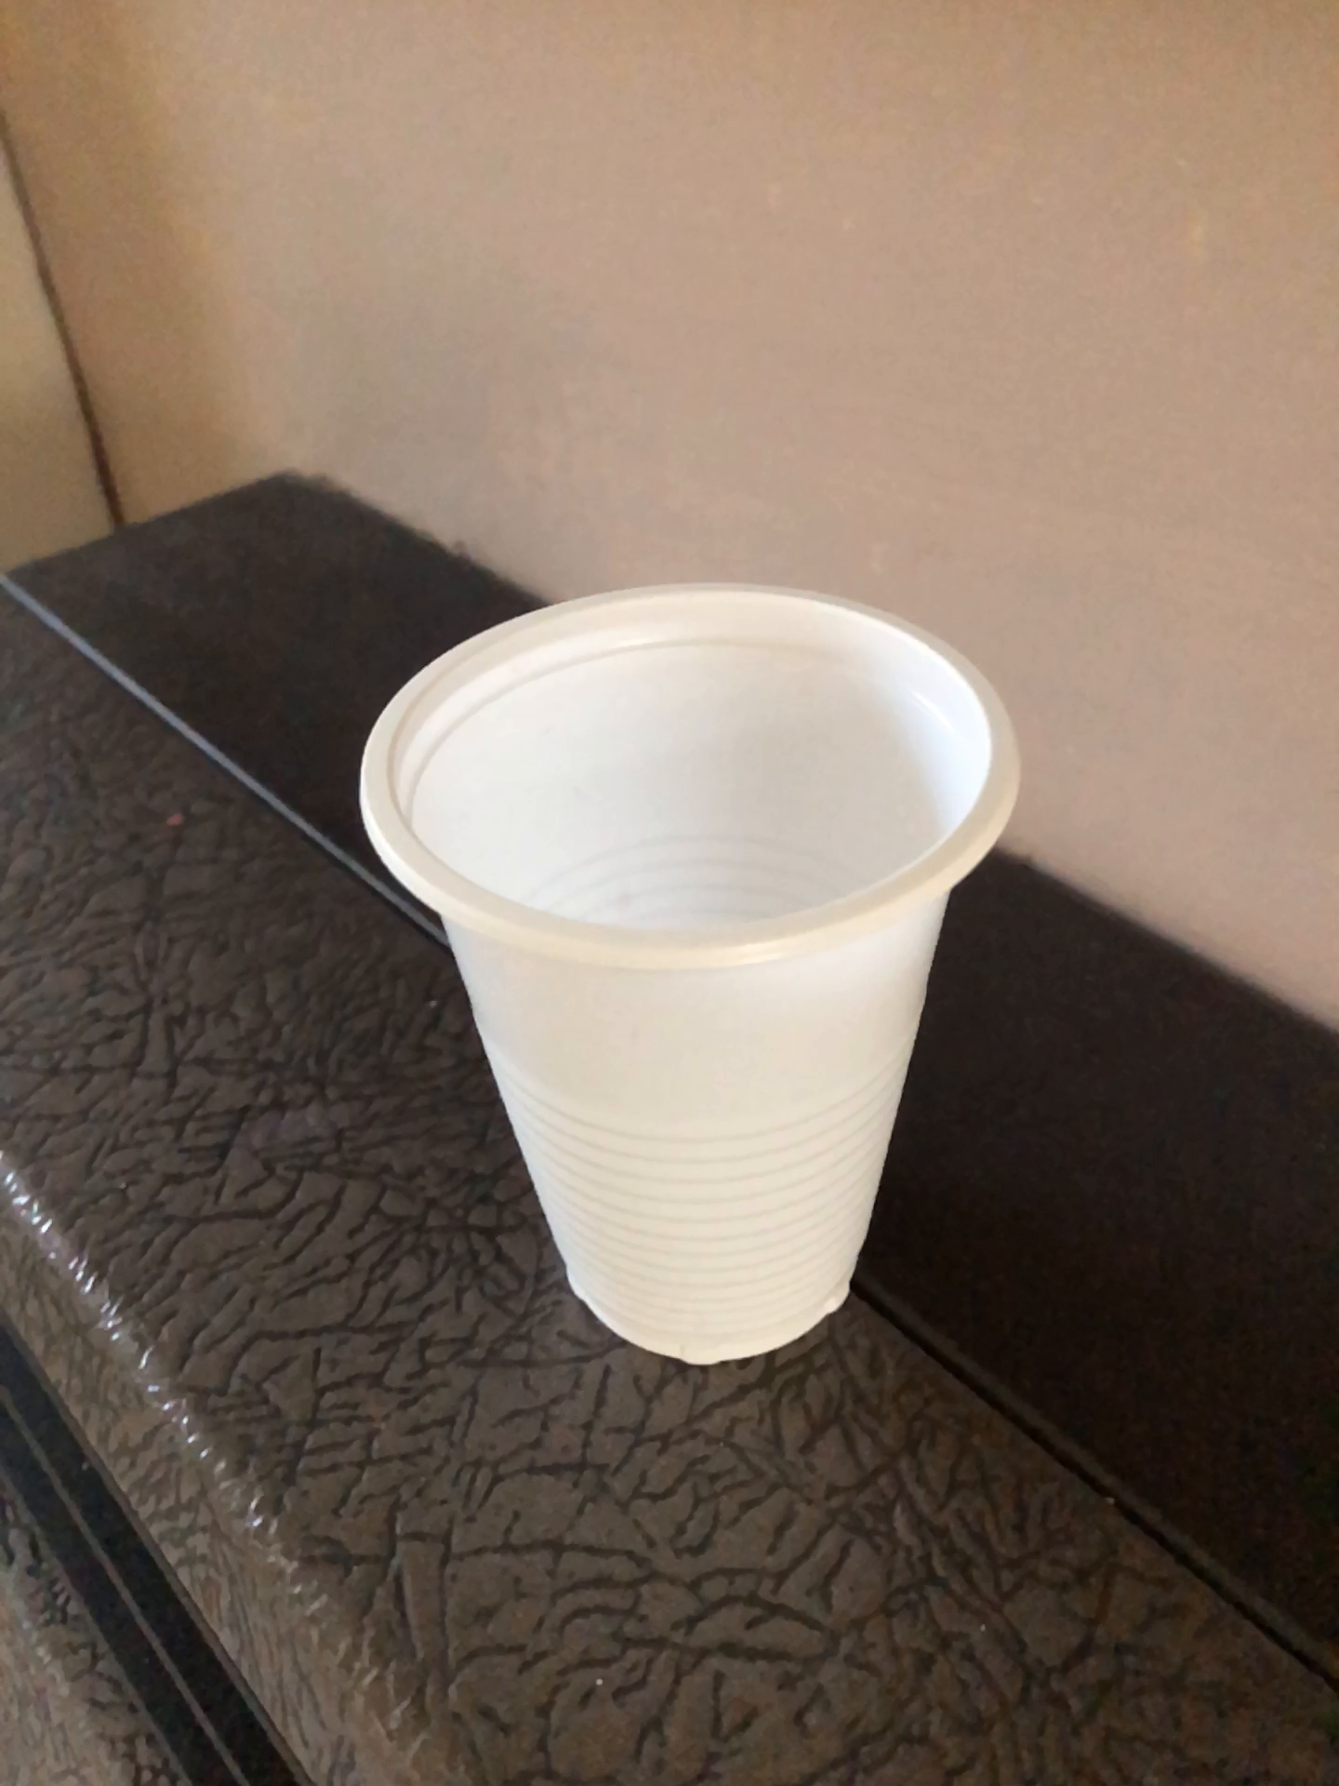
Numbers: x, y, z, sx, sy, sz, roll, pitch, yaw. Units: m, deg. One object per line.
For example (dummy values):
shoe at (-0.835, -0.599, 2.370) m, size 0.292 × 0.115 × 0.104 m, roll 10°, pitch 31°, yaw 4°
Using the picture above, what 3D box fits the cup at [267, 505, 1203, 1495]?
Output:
cup at (0.008, 0.008, 0.195) m, size 0.072 × 0.073 × 0.080 m, roll -4°, pitch 40°, yaw 3°
